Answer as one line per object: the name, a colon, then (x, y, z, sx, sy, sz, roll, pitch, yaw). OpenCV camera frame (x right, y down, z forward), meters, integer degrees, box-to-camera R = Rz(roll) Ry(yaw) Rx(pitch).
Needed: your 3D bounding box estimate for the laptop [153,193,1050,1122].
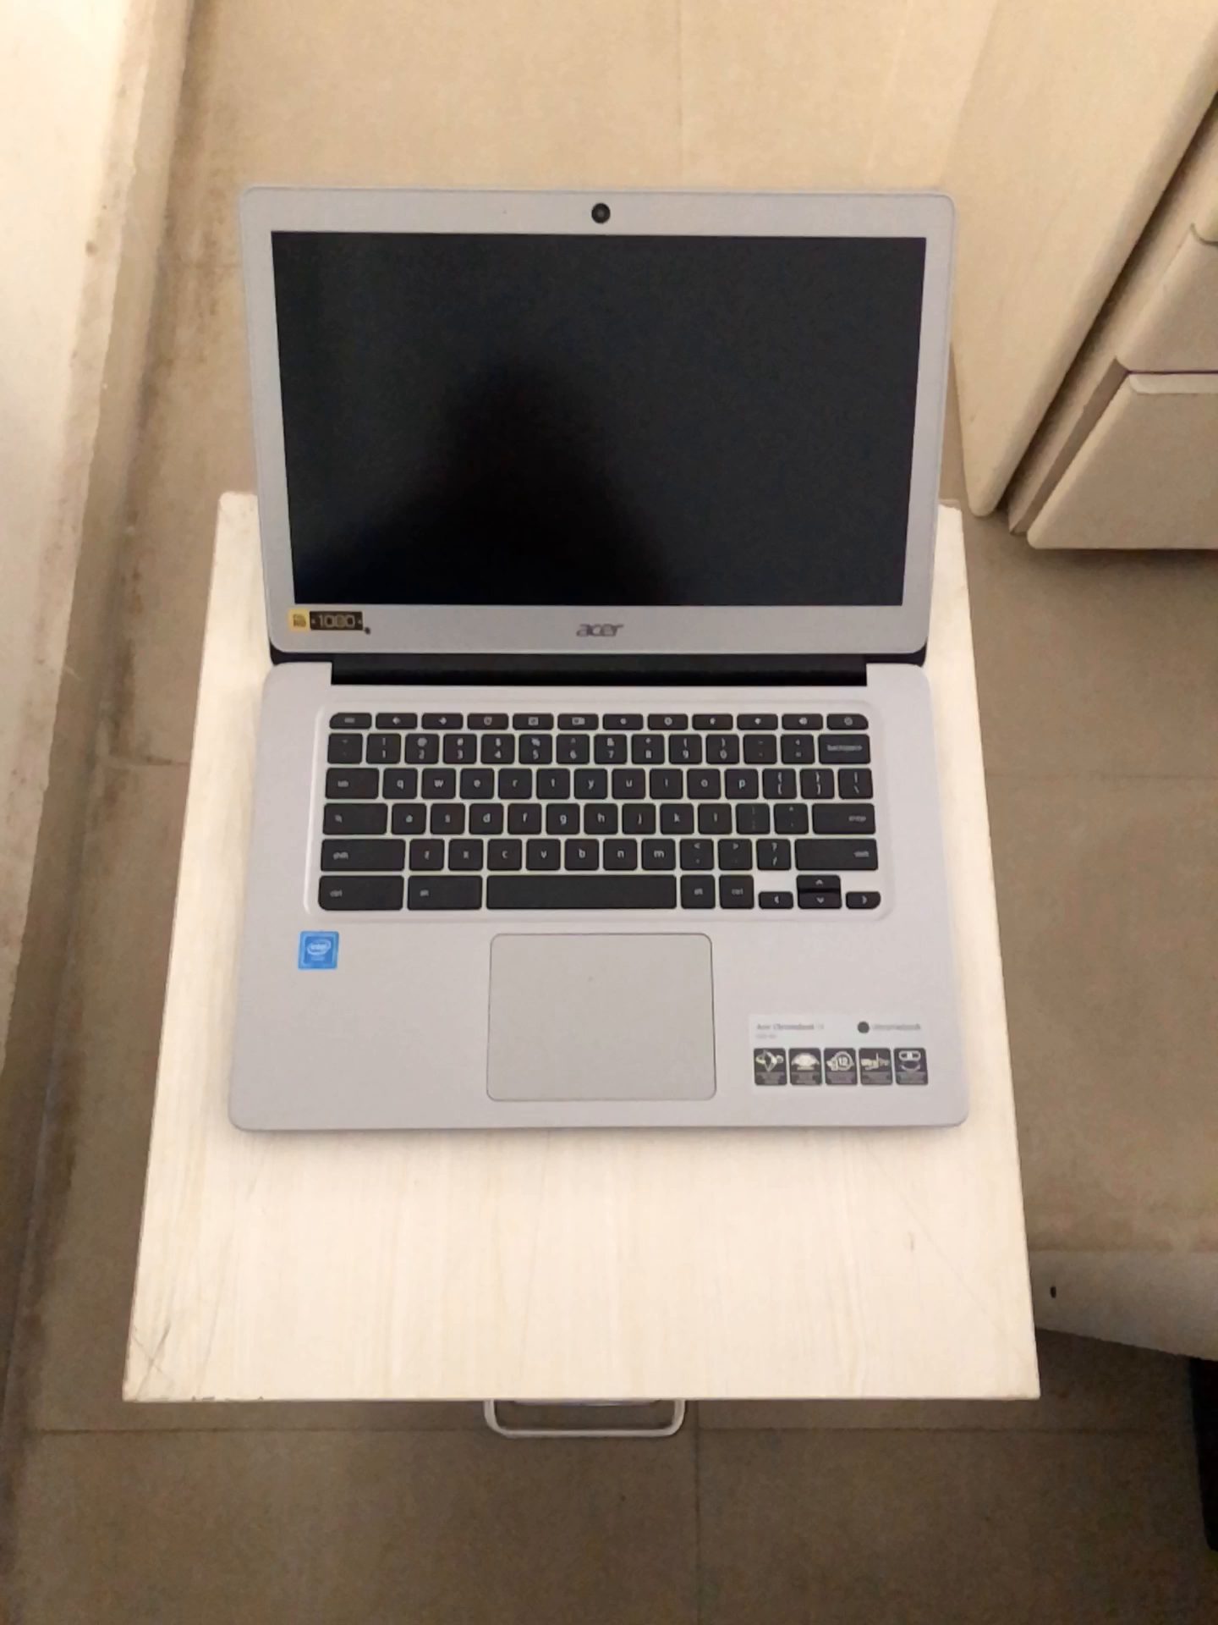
laptop: (-0.003, -0.073, 0.620, 0.332, 0.126, 0.408, 0, 72, -1)
